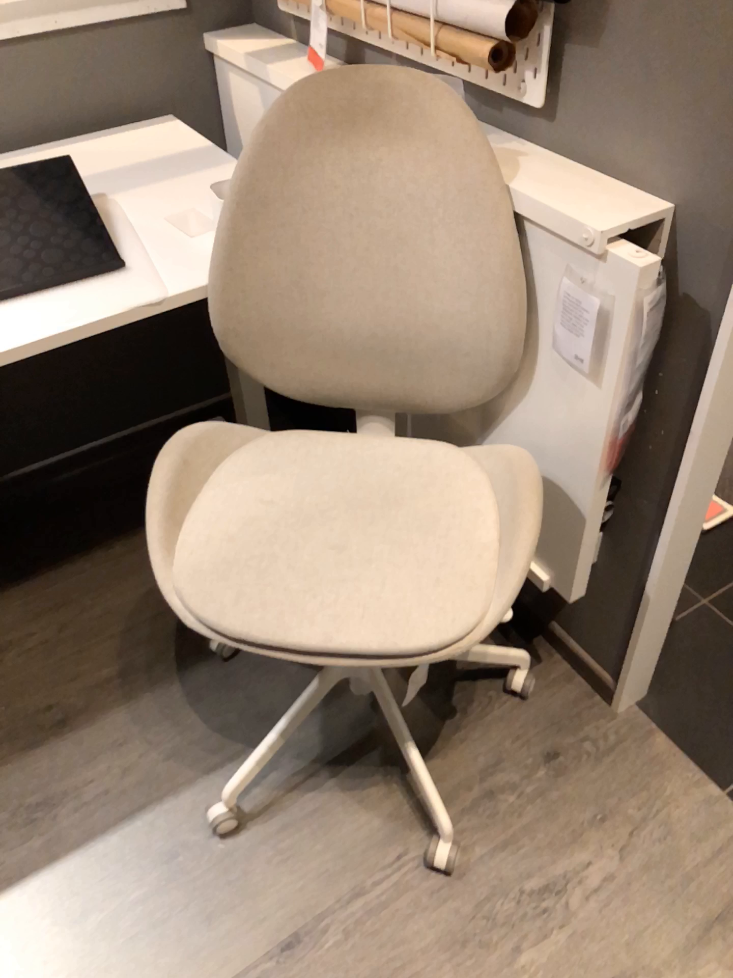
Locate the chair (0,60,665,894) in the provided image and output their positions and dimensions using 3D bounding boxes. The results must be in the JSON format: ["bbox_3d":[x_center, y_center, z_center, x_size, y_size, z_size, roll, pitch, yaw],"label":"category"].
[{"bbox_3d":[-0.041,-0.008,1.196,0.680,0.963,0.685,5,43,9],"label":"chair"}]
